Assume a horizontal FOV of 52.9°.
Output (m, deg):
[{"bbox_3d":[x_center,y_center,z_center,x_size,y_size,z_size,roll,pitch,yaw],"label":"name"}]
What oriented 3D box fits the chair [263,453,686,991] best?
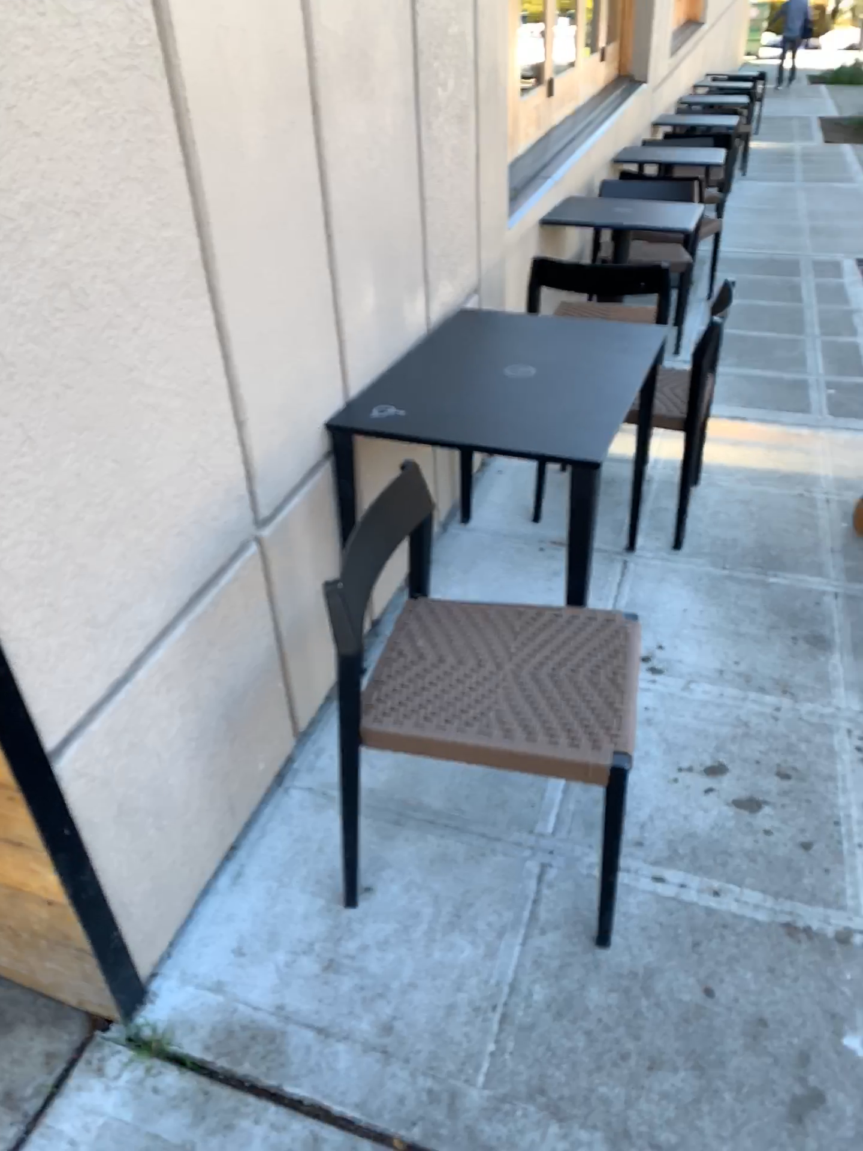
[{"bbox_3d":[0.119,0.230,1.527,0.551,0.666,0.553,6,36,13],"label":"chair"}]
